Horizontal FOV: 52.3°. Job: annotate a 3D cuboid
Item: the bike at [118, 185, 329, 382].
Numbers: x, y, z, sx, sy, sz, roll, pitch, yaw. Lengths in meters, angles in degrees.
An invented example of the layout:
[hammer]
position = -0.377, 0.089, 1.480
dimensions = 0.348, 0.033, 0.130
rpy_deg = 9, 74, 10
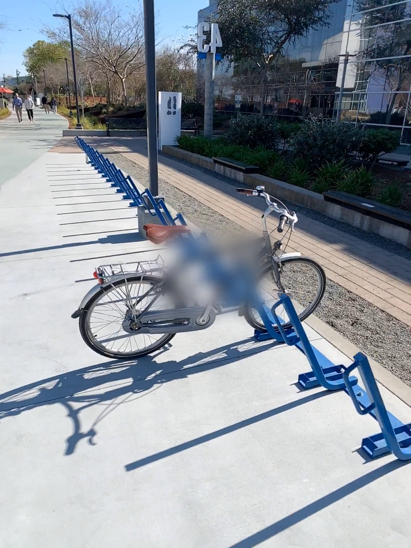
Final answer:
[bike]
position = 0.063, -0.001, 2.527
dimensions = 1.061, 0.916, 0.593
rpy_deg = -6, 23, -17
